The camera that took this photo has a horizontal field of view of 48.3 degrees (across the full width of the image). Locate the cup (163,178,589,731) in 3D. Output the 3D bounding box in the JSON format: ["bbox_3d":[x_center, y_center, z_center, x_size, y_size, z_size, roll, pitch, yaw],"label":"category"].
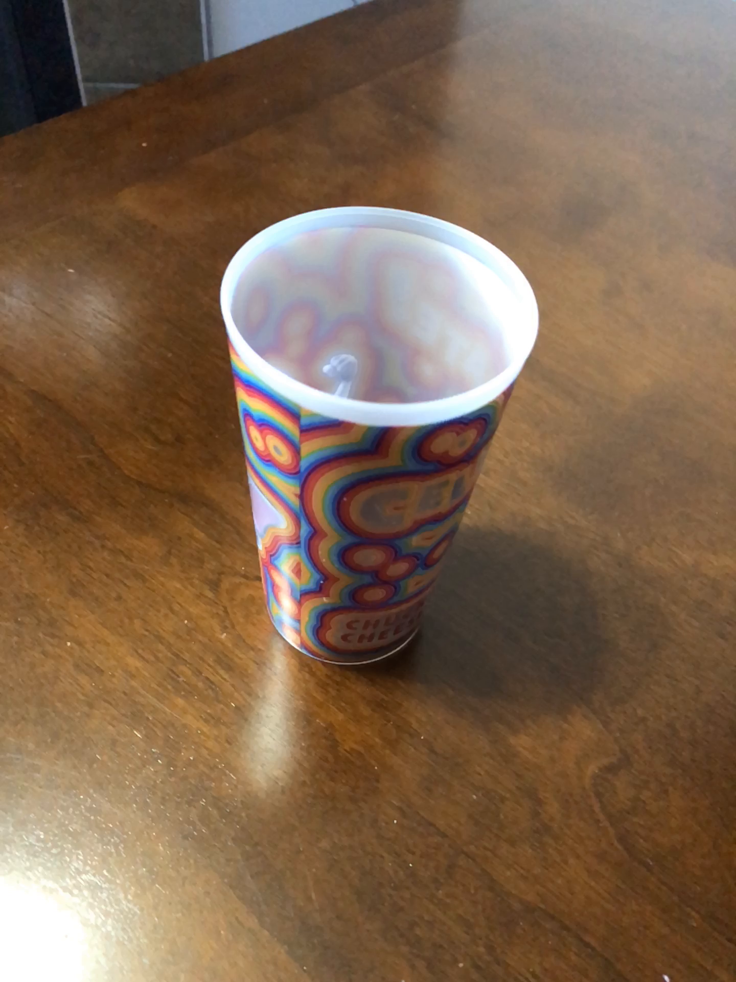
[{"bbox_3d":[-0.002,-0.004,0.239,0.070,0.130,0.070,3,50,-3],"label":"cup"}]
